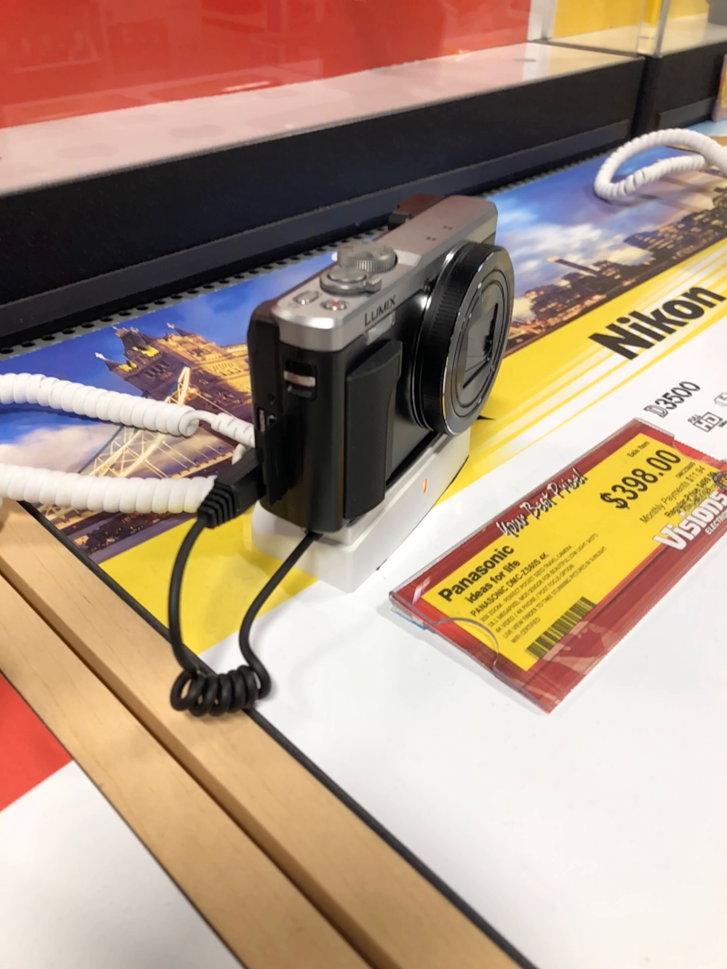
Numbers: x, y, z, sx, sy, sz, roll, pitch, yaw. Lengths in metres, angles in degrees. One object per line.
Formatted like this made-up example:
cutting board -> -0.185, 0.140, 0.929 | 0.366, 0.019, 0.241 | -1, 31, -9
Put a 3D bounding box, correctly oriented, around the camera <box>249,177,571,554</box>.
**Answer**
camera -> 0.020, -0.043, 0.239 | 0.040, 0.060, 0.121 | 18, 39, 23
